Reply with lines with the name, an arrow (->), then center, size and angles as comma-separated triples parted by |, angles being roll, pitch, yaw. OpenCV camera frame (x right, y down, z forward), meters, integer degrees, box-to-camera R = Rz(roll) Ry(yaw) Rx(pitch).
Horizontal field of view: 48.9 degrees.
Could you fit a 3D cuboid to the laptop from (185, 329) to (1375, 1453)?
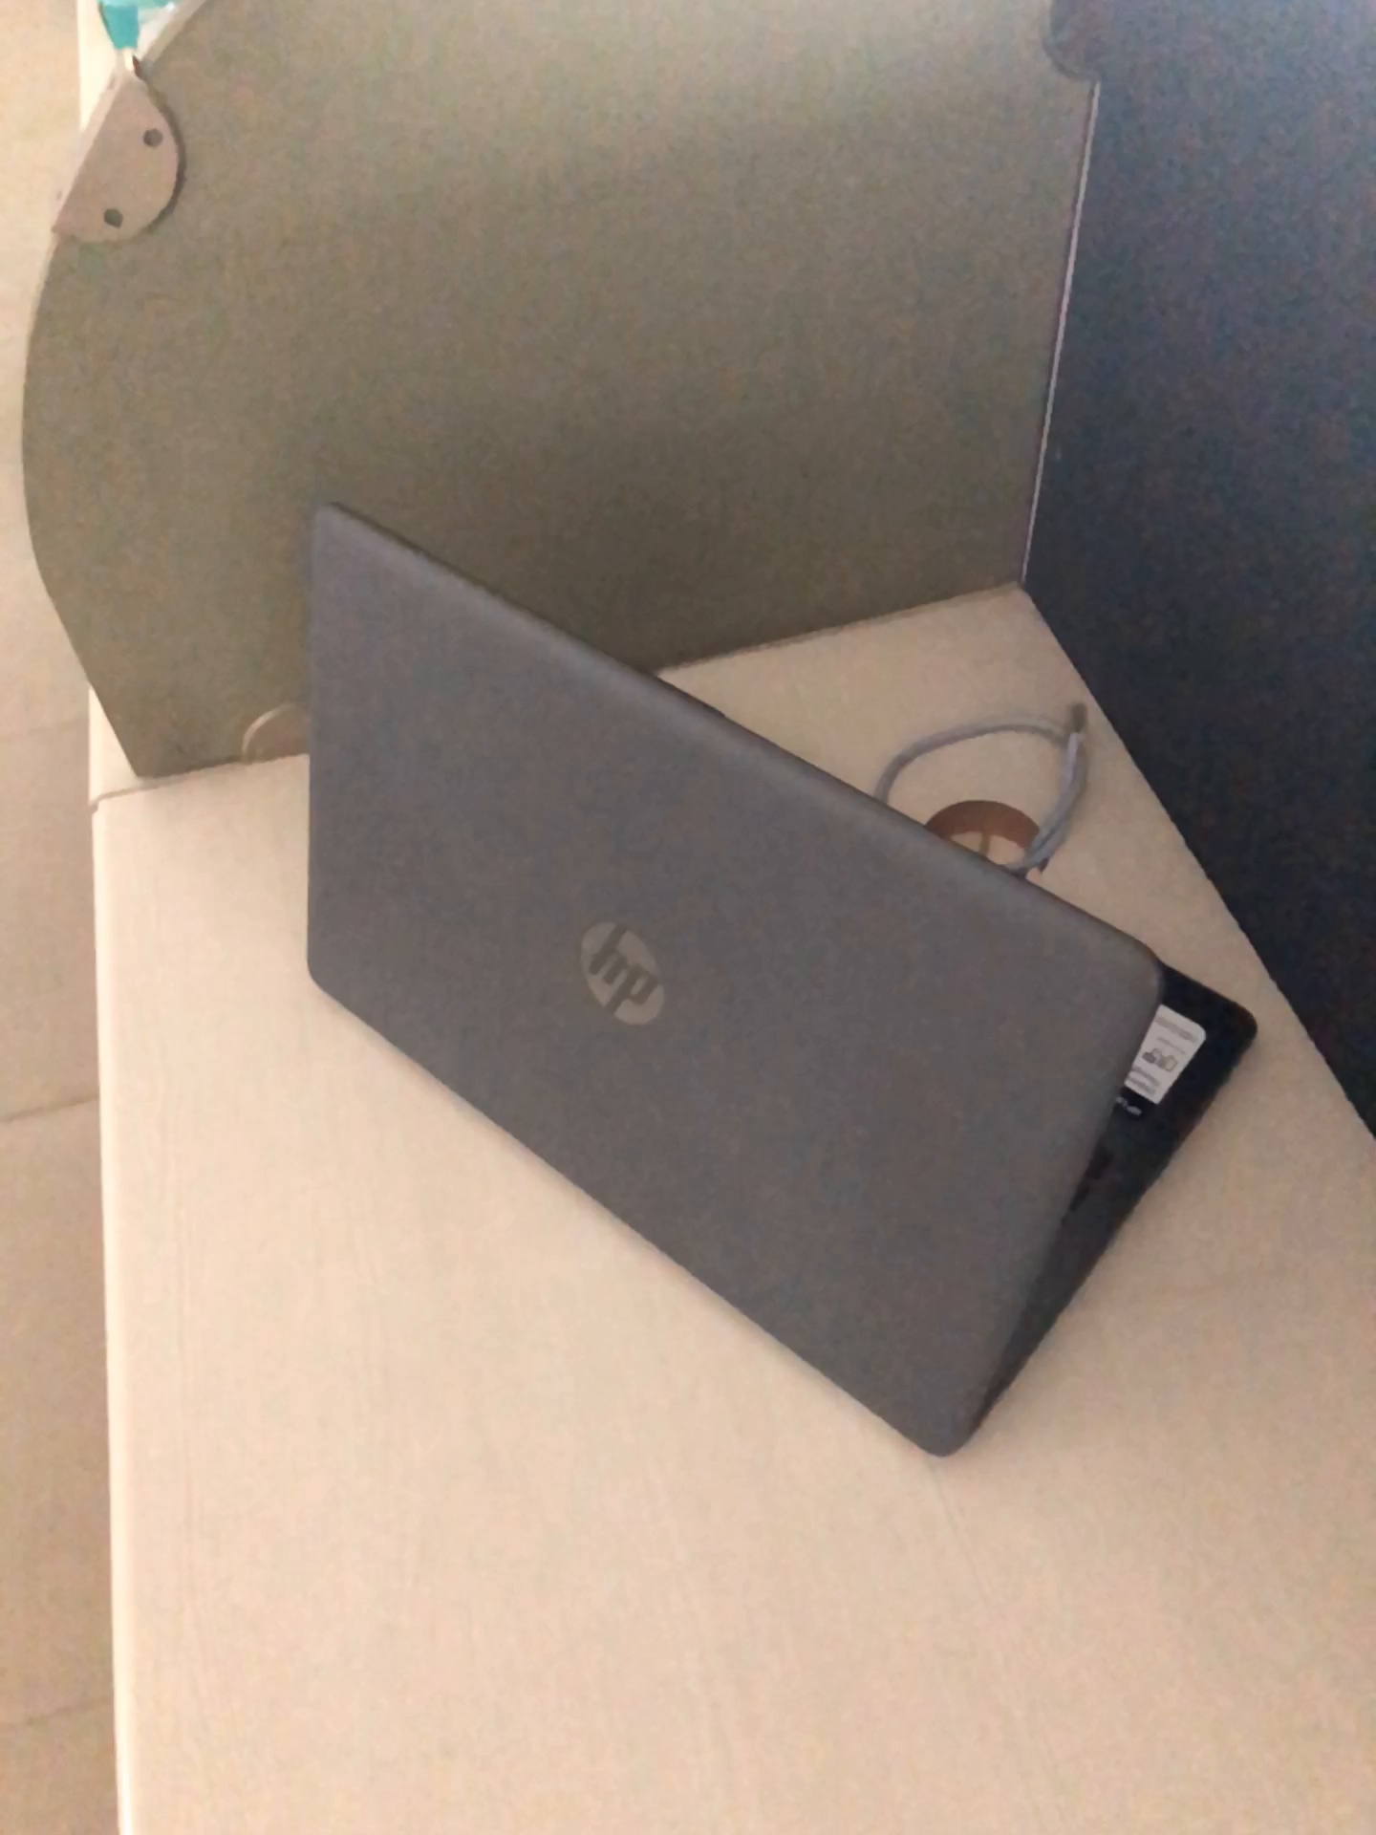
laptop -> 0.029, -0.030, 0.616 | 0.360, 0.216, 0.238 | 33, 61, 28
